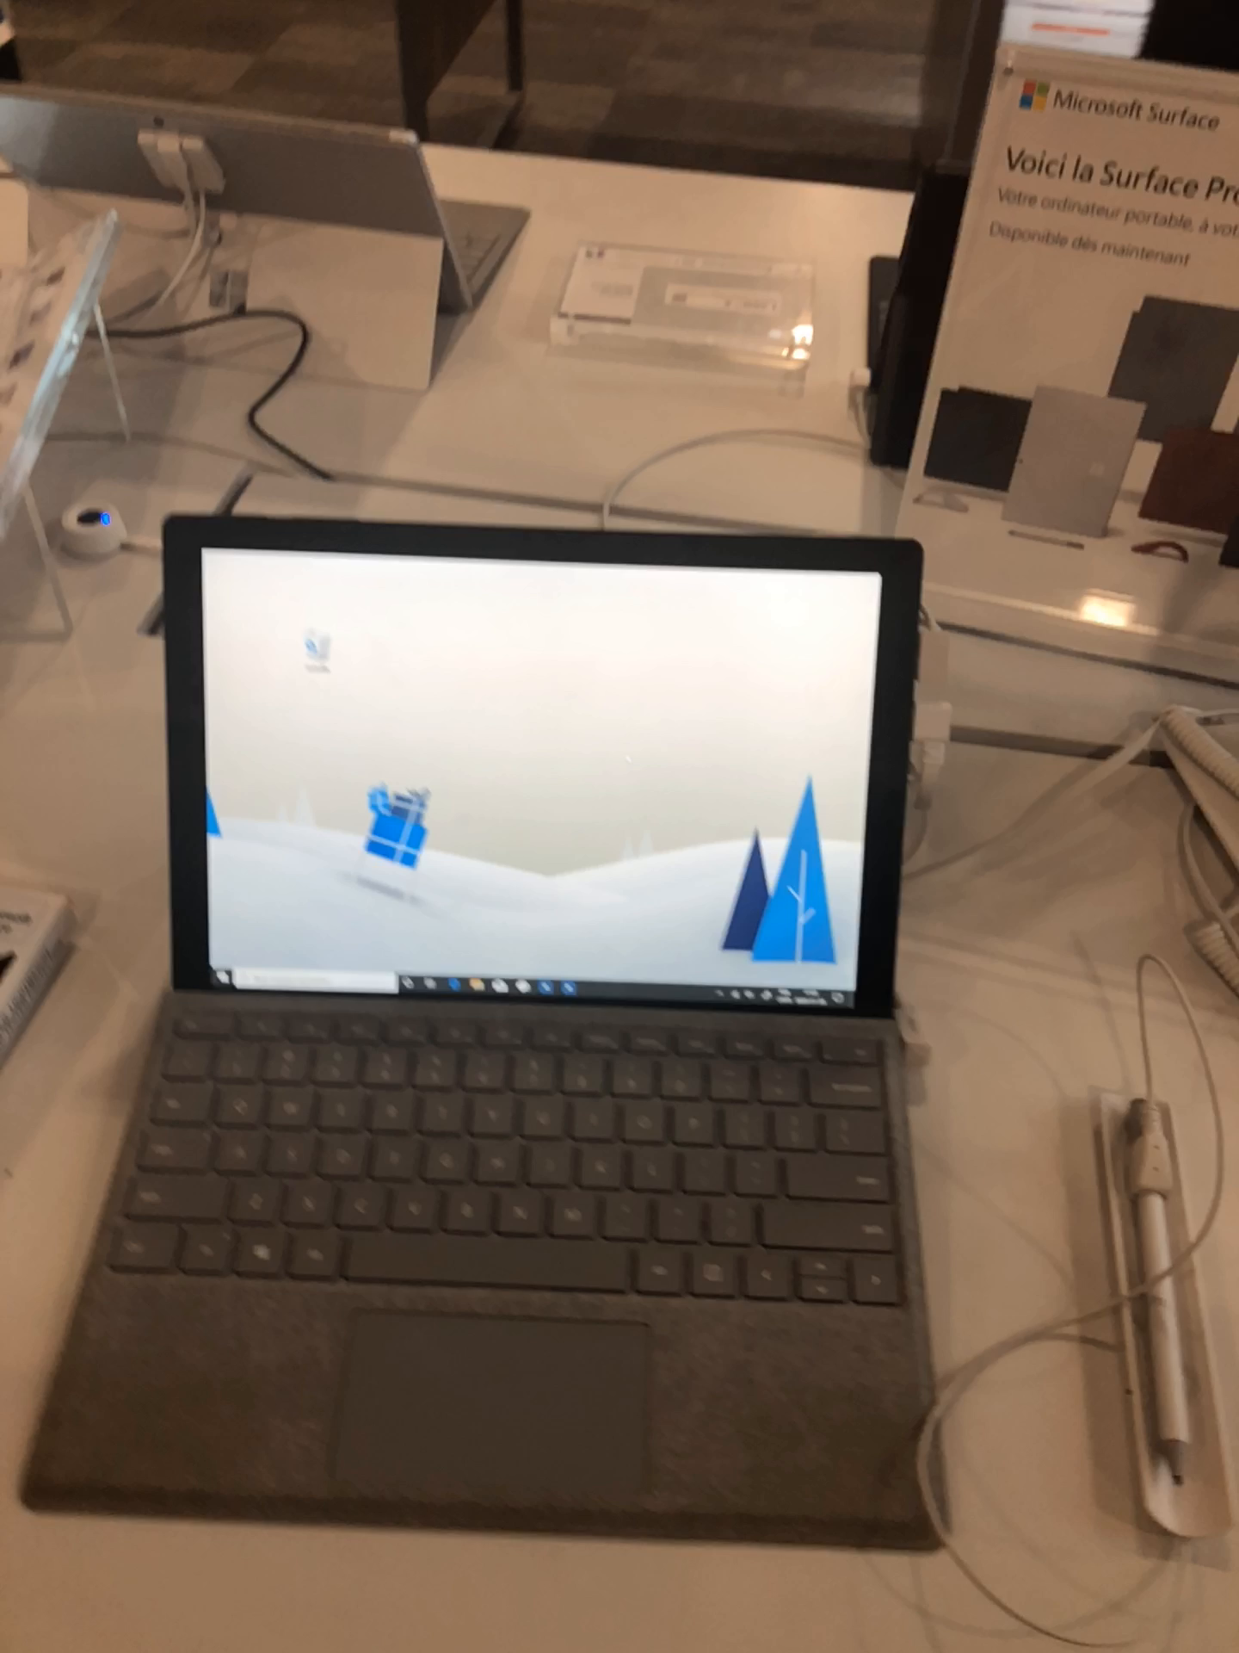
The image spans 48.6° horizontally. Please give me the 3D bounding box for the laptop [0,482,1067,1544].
[{"bbox_3d":[-0.035,0.048,0.476,0.285,0.150,0.309,3,49,-1],"label":"laptop"}]
